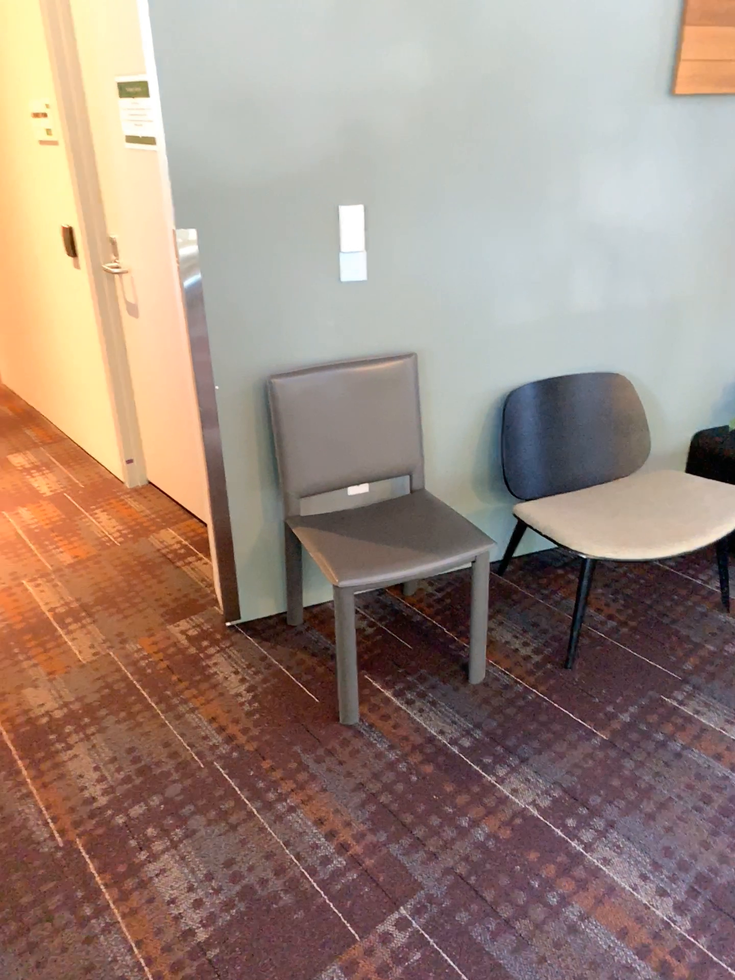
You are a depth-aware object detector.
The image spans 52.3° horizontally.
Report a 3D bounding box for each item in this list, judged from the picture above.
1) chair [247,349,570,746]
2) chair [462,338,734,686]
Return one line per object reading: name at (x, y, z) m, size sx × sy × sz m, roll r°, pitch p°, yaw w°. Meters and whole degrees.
chair at (0.087, 0.112, 2.237) m, size 0.640 × 0.835 × 0.694 m, roll -13°, pitch 28°, yaw -21°
chair at (0.864, 0.016, 2.599) m, size 0.790 × 0.835 × 0.714 m, roll -13°, pitch 28°, yaw -21°
